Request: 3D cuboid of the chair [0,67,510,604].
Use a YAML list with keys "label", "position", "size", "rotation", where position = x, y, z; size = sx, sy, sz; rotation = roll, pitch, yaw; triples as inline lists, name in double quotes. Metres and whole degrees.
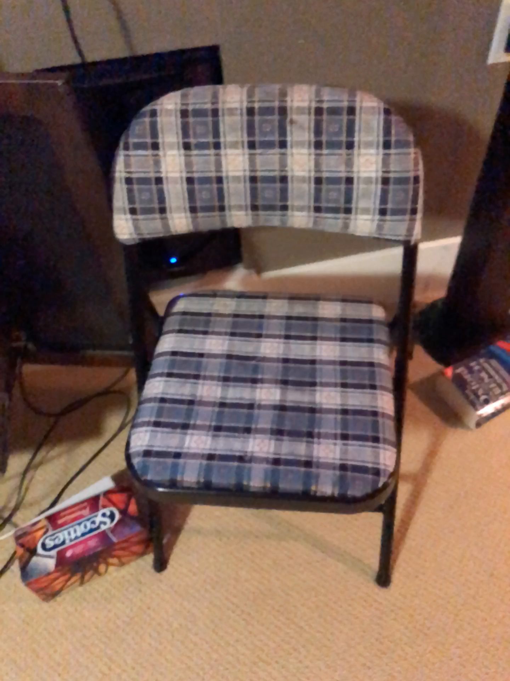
- label: "chair"
  position: [0.036, 0.026, 0.956]
  size: [0.500, 0.706, 0.563]
  rotation: [4, 52, 7]
